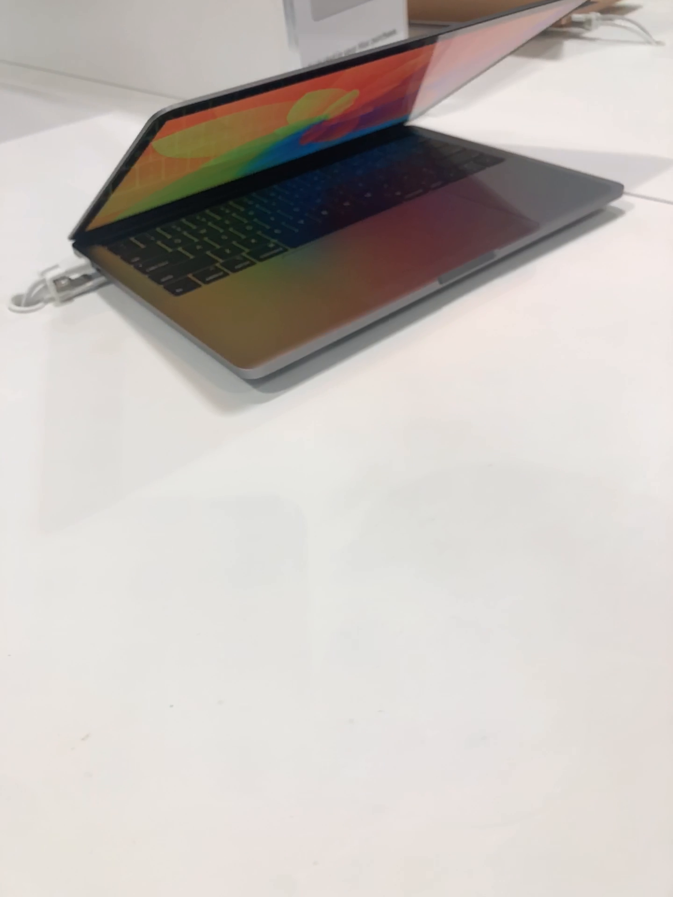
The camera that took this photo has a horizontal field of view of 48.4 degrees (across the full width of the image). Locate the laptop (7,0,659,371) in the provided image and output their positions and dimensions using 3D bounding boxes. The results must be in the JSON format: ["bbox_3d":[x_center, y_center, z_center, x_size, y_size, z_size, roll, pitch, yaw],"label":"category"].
[{"bbox_3d":[0.003,-0.192,0.448,0.297,0.109,0.211,-30,45,-27],"label":"laptop"}]
